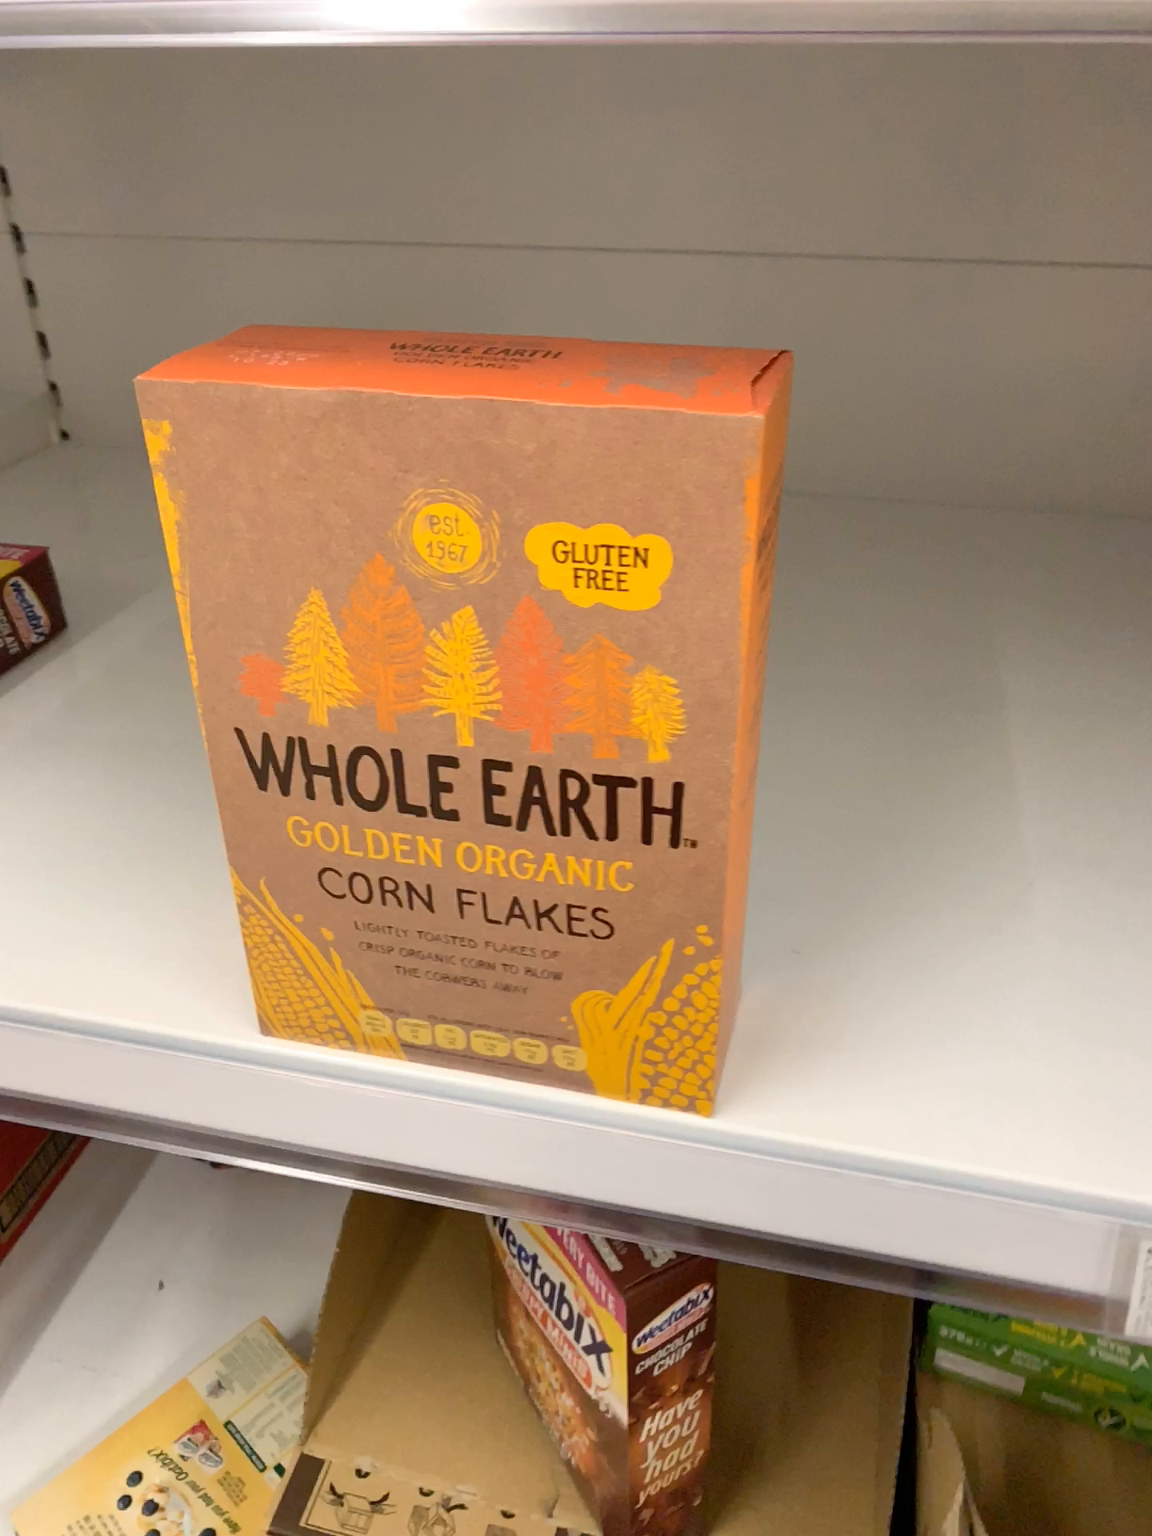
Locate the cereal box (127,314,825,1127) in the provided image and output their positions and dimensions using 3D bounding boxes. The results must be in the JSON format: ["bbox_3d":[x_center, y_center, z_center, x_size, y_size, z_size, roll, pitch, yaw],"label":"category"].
[{"bbox_3d":[-0.026,-0.015,0.440,0.200,0.267,0.091,7,32,13],"label":"cereal box"}]
